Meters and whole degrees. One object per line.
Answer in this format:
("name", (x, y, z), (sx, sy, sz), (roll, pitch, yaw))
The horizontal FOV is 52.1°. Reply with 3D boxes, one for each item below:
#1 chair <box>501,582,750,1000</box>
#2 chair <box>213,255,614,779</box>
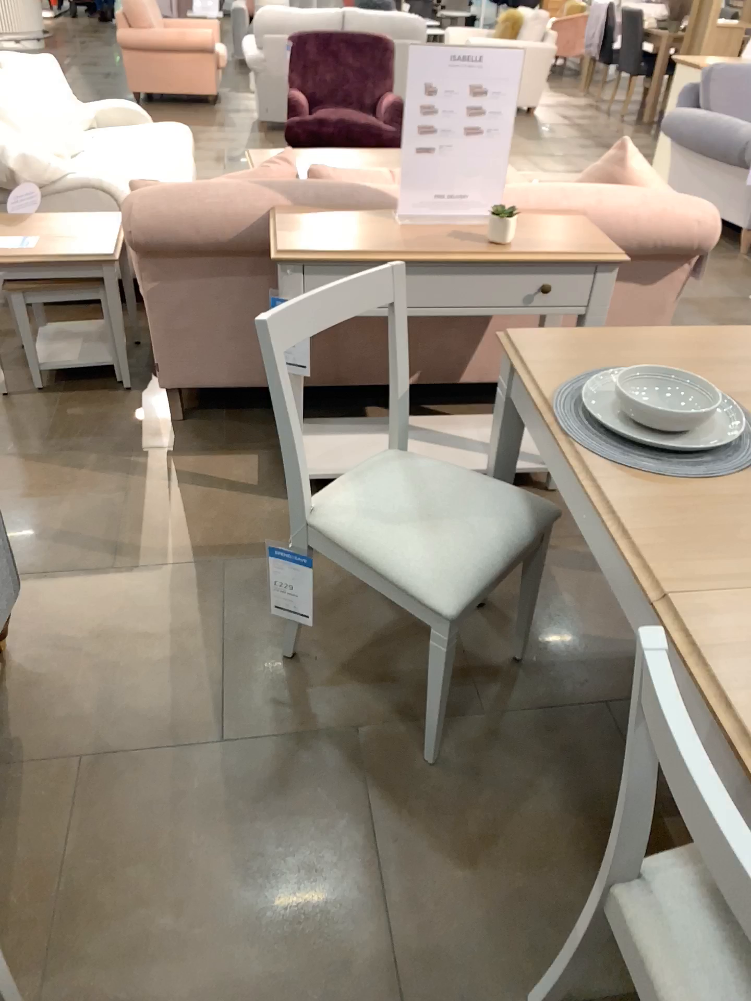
("chair", (0.526, 0.568, 0.902), (0.534, 0.817, 0.434), (-3, 37, -9))
("chair", (0.052, 0.019, 1.585), (0.536, 0.817, 0.463), (27, 42, 29))
